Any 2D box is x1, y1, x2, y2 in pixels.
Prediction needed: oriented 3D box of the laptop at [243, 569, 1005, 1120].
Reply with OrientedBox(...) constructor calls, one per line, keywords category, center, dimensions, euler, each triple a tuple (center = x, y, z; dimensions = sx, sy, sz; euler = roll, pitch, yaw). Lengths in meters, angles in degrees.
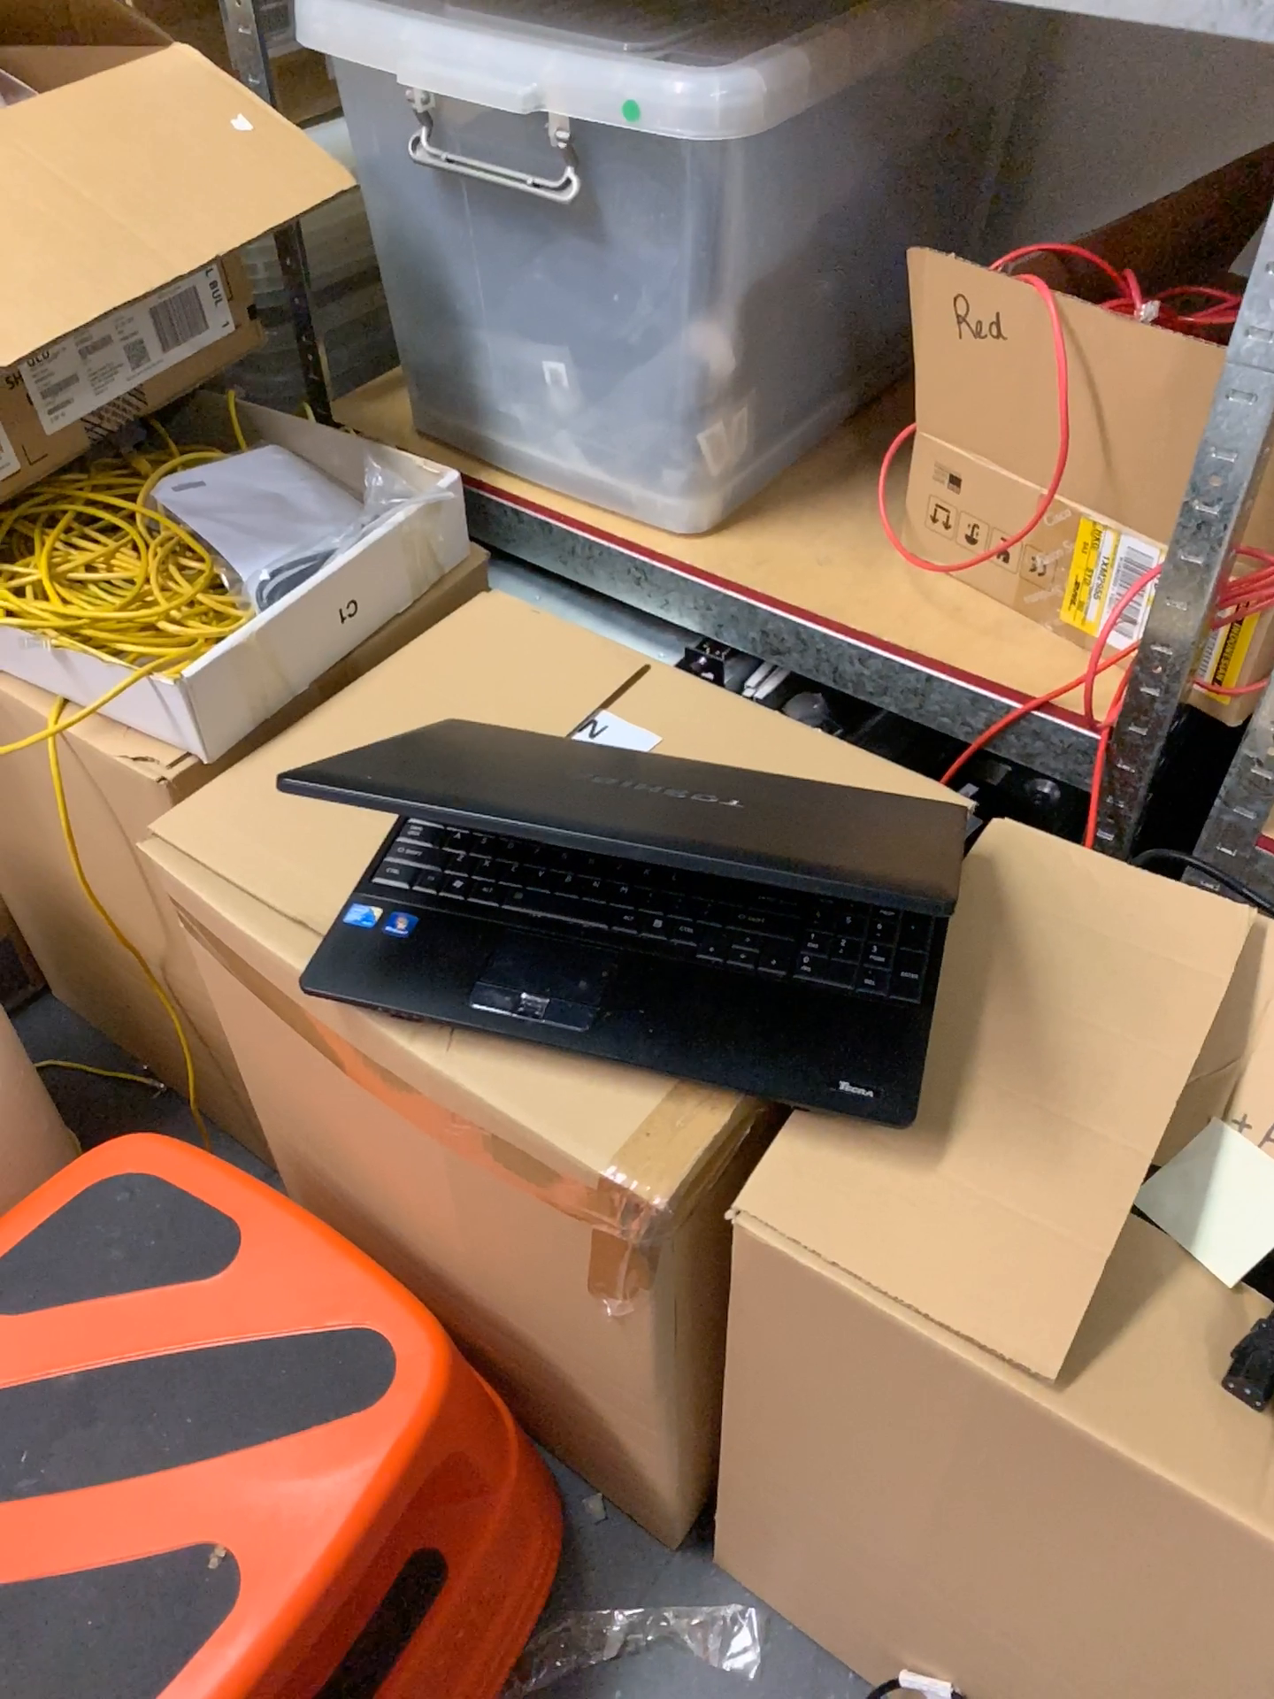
OrientedBox(category="laptop", center=(0.006, -0.015, 0.757), dimensions=(0.354, 0.135, 0.232), euler=(11, 48, 11))
